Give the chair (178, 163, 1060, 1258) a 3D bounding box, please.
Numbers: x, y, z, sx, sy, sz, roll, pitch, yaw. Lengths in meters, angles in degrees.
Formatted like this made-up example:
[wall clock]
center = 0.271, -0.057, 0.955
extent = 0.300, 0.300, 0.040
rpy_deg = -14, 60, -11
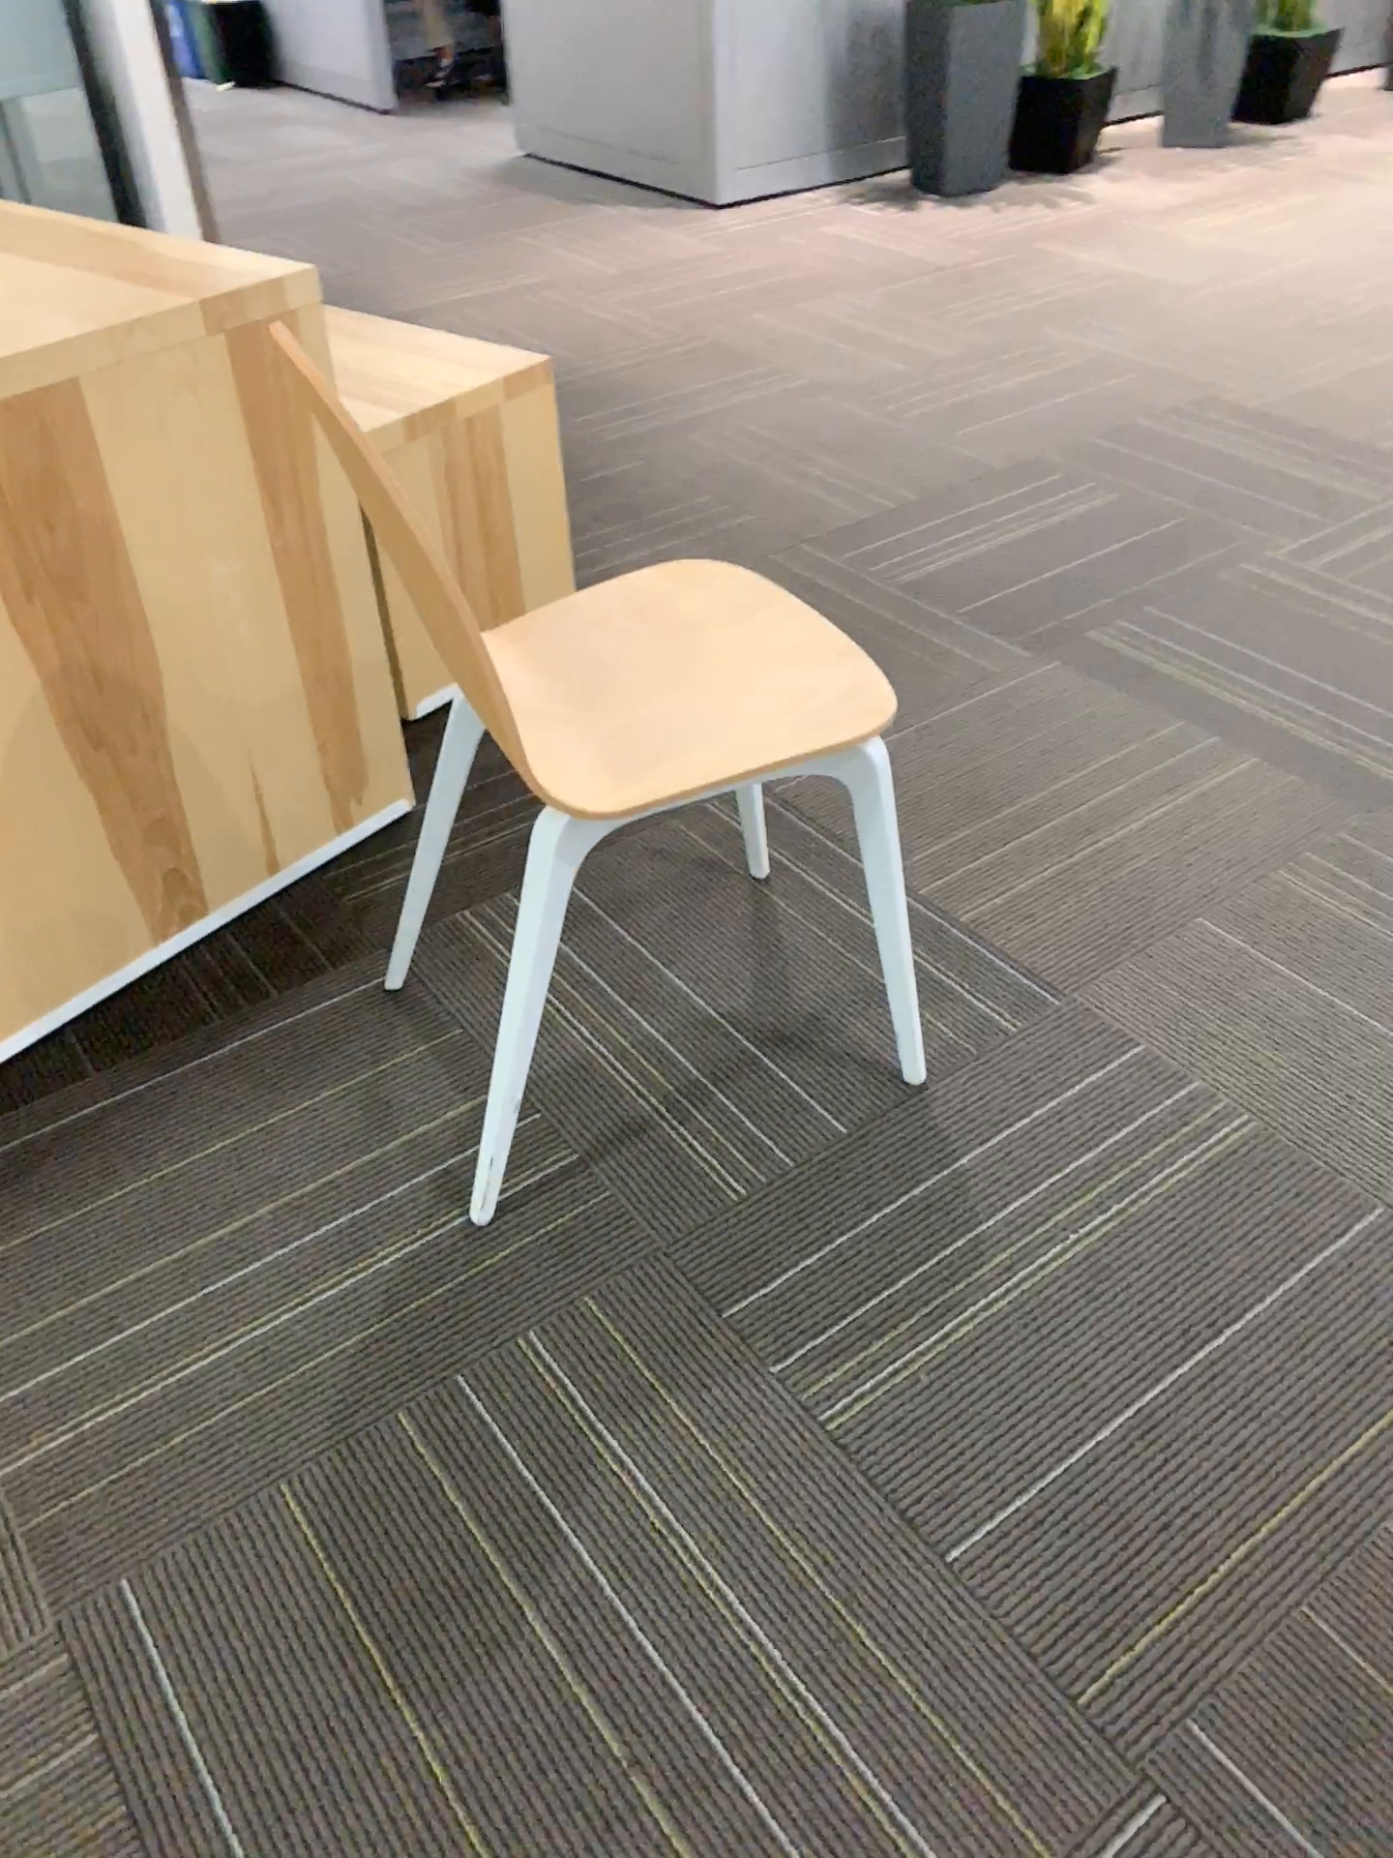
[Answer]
[chair]
center = -0.087, -0.230, 1.422
extent = 0.560, 0.815, 0.553
rpy_deg = -17, 41, -18
